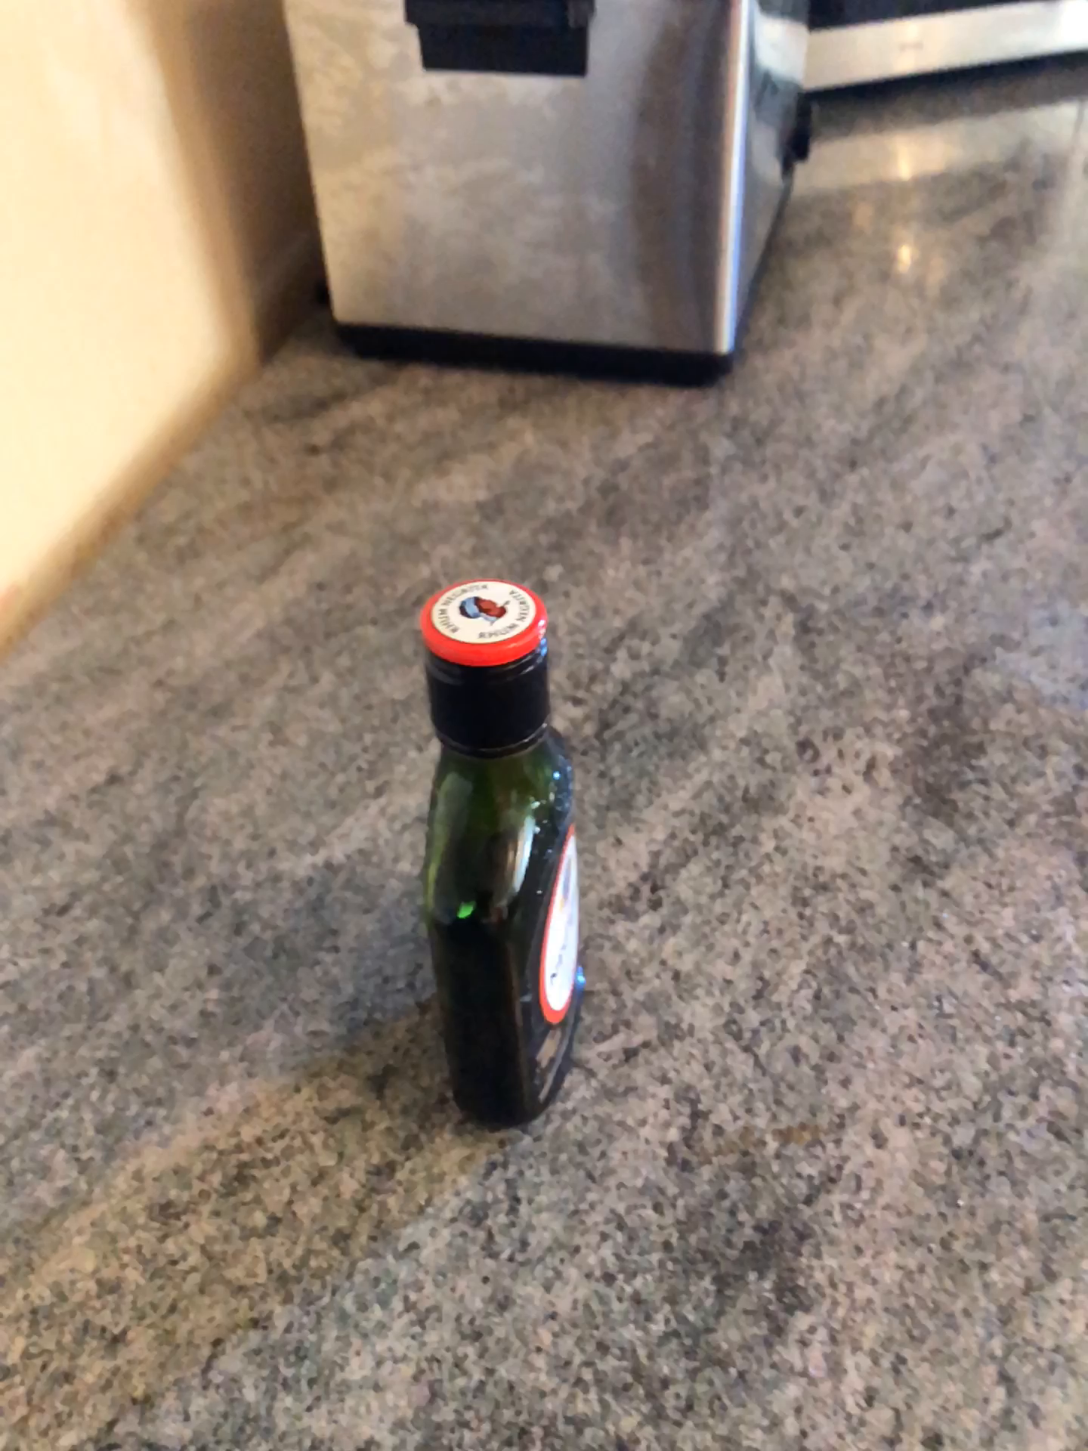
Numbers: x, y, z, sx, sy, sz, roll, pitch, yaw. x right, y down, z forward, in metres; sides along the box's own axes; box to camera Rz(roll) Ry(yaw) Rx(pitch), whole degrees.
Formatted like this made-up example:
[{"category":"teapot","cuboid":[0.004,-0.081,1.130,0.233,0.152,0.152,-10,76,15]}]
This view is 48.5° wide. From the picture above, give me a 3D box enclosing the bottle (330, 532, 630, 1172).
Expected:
[{"category":"bottle","cuboid":[-0.008,0.039,0.328,0.050,0.159,0.081,5,41,11]}]
